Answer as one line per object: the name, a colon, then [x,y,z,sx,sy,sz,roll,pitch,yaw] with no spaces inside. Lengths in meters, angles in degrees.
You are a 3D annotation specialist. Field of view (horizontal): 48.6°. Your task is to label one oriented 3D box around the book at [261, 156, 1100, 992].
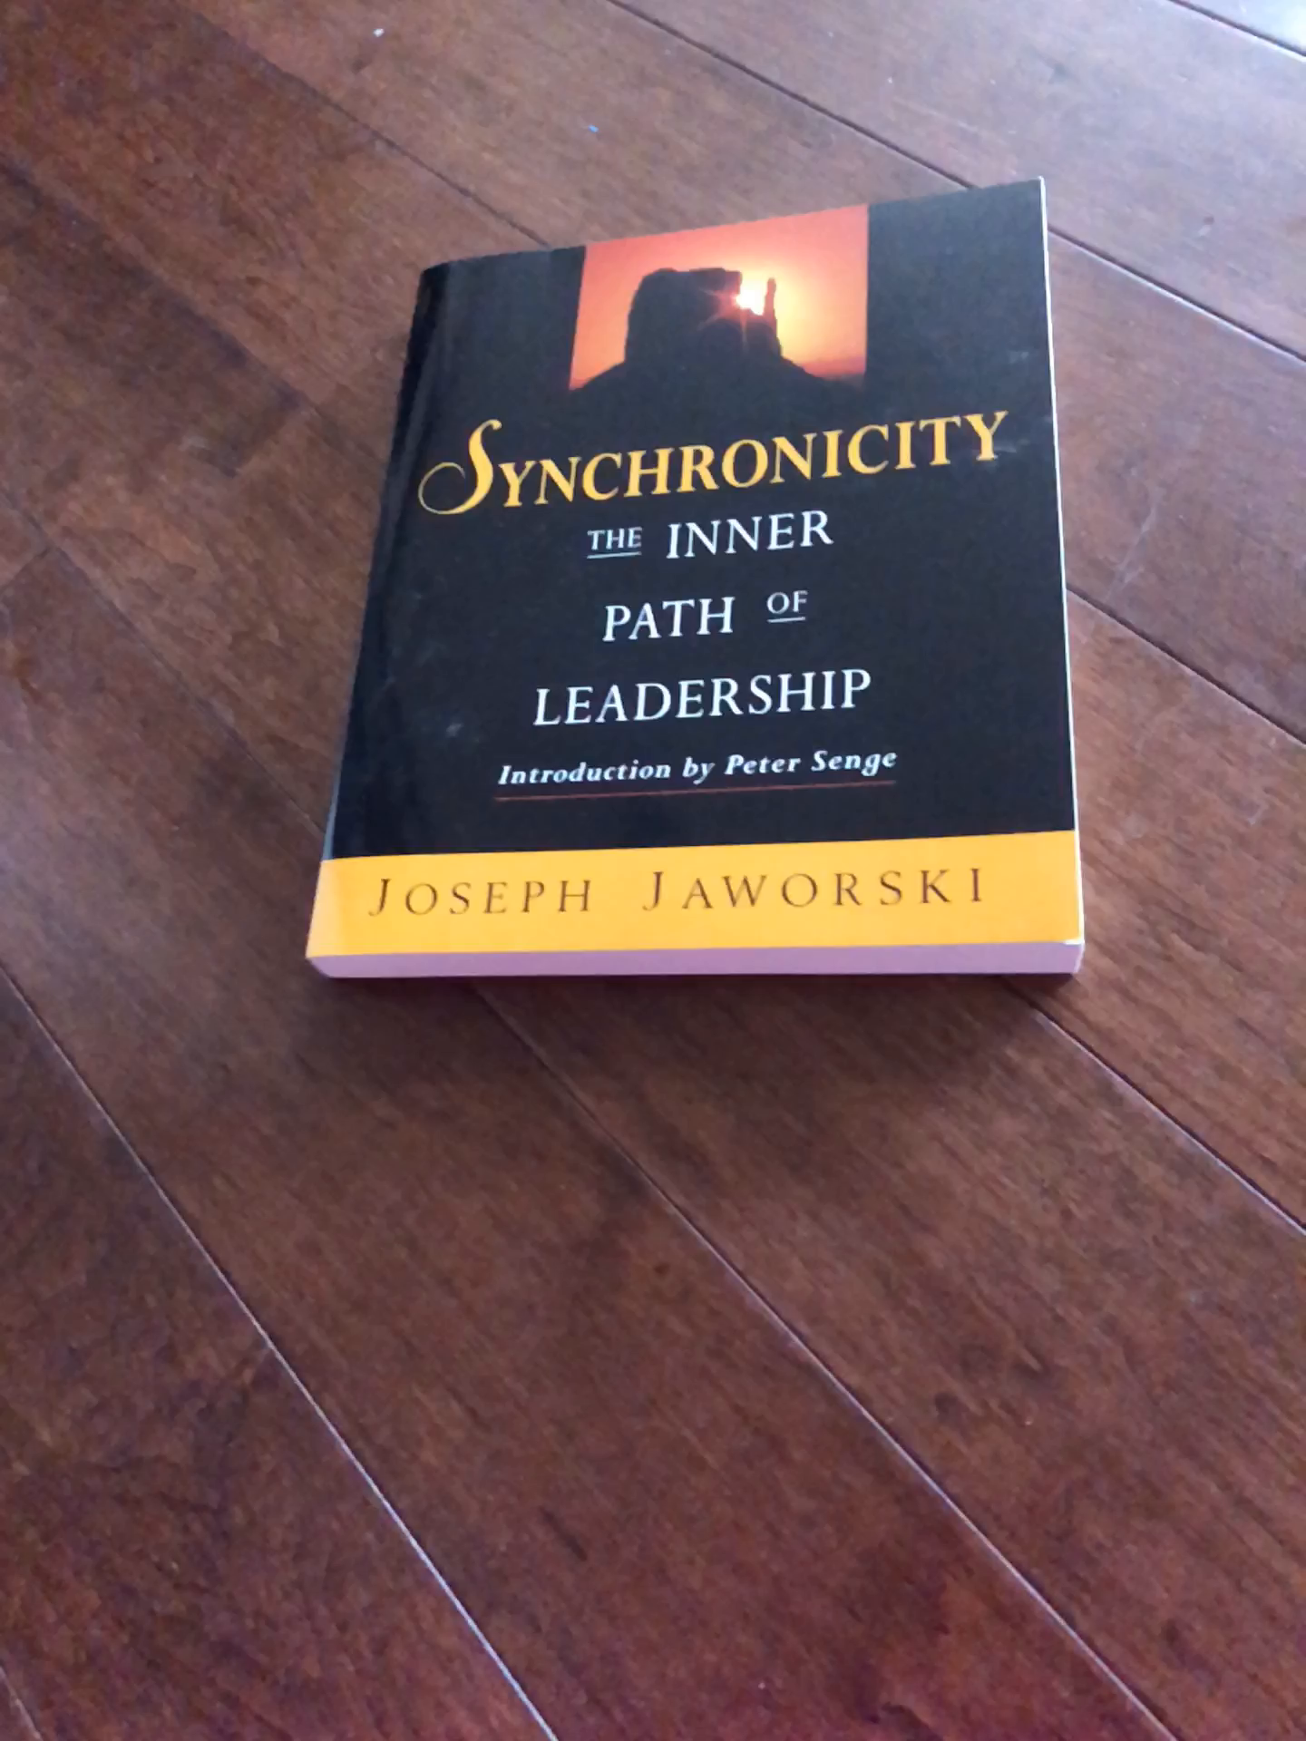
book: [0.011,-0.079,0.377,0.190,0.030,0.223,-2,66,14]
